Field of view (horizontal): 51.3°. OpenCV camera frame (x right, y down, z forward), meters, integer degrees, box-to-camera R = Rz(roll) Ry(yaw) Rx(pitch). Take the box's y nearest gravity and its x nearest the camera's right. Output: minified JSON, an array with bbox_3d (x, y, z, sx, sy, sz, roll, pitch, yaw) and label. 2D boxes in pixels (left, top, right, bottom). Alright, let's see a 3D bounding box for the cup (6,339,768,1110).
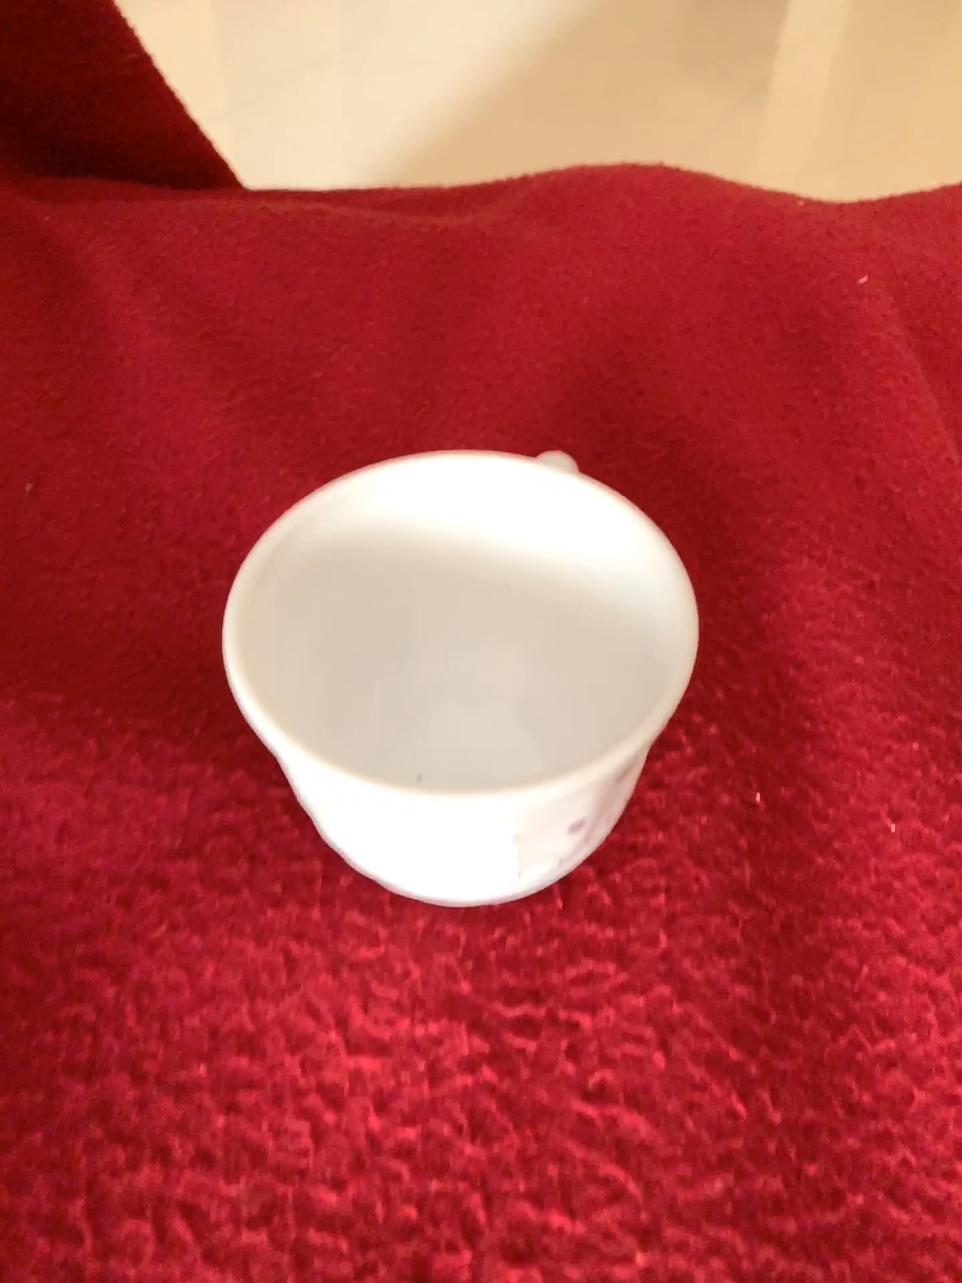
[{"bbox_3d":[-0.007,0.007,0.170,0.080,0.050,0.101,18,53,11],"label":"cup"}]
